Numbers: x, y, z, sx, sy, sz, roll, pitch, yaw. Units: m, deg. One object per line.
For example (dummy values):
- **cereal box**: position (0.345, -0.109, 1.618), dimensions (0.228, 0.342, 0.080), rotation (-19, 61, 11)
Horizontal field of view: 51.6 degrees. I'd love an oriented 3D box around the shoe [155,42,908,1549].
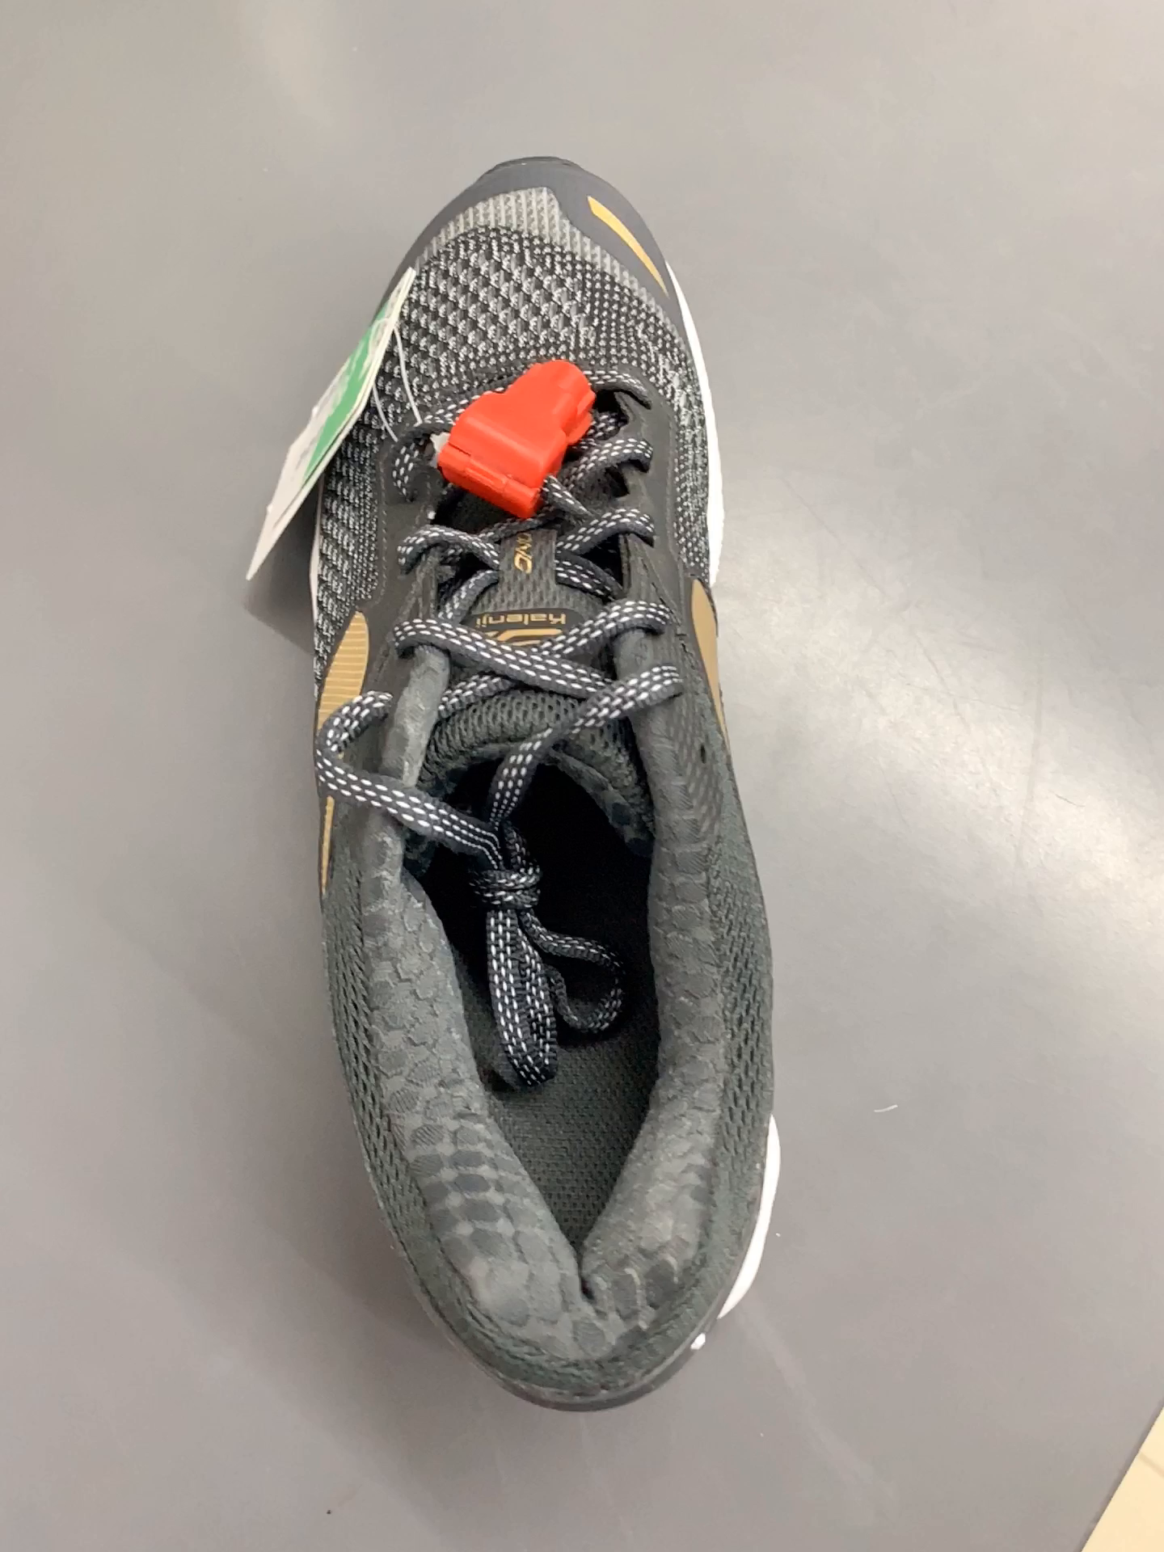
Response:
- **shoe**: position (-0.012, -0.005, 0.233), dimensions (0.100, 0.090, 0.240), rotation (-3, 76, -1)
